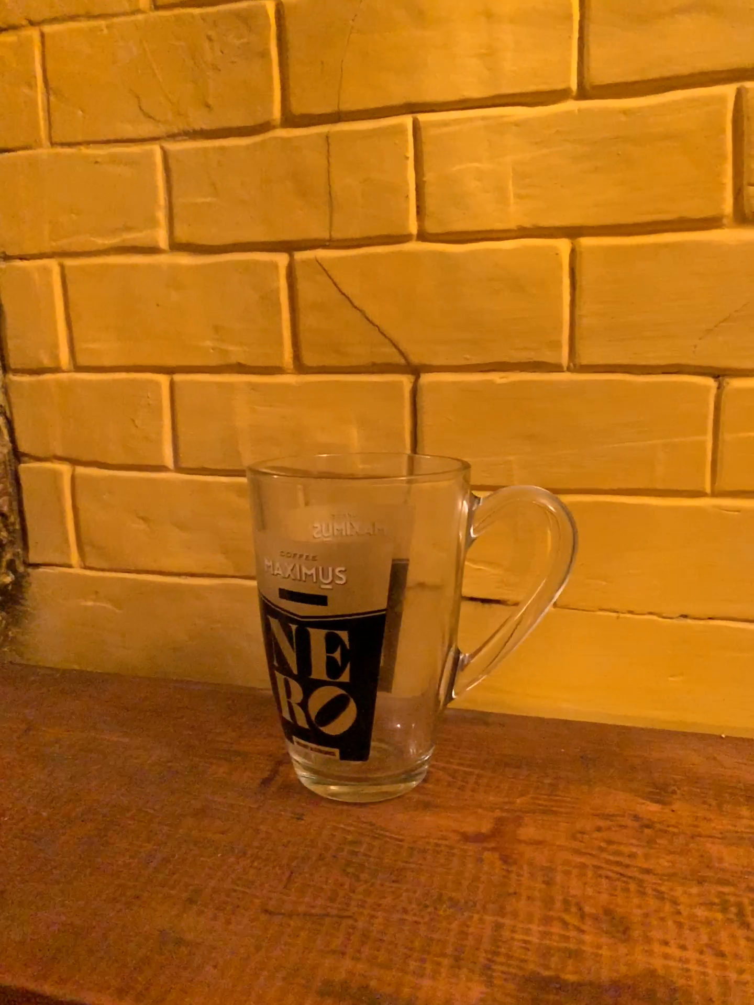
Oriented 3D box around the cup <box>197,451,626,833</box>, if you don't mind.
[{"bbox_3d":[0.016,0.039,0.279,0.124,0.099,0.094,1,13,10],"label":"cup"}]
